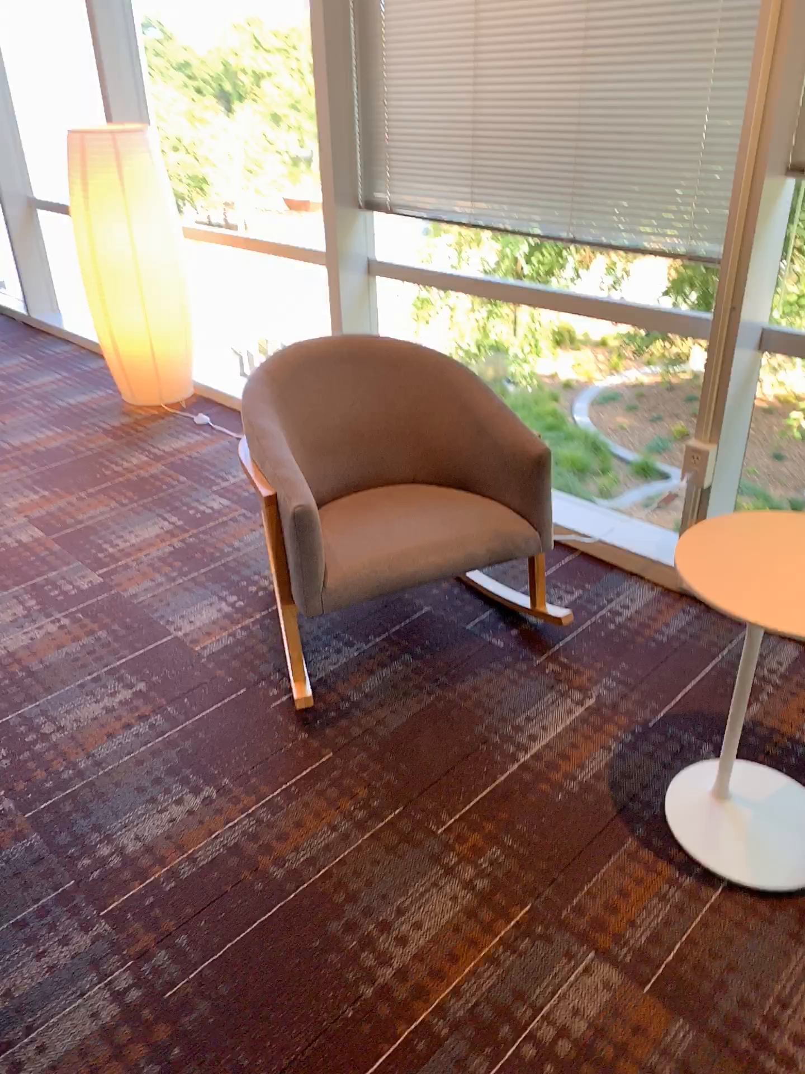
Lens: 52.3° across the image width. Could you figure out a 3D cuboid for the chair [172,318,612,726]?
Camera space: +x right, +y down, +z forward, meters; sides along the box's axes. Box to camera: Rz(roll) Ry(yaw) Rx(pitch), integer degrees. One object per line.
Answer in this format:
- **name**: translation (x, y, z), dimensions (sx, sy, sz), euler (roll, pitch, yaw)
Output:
- **chair**: translation (-0.075, -0.132, 2.312), dimensions (0.850, 0.656, 0.915), euler (-14, 31, -22)
